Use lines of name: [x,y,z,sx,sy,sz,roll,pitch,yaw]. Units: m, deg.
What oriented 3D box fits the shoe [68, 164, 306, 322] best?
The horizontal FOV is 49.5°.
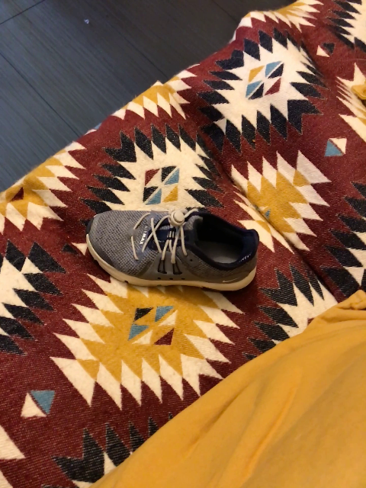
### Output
shoe: [0.006,0.002,0.413,0.211,0.074,0.094,15,69,2]
